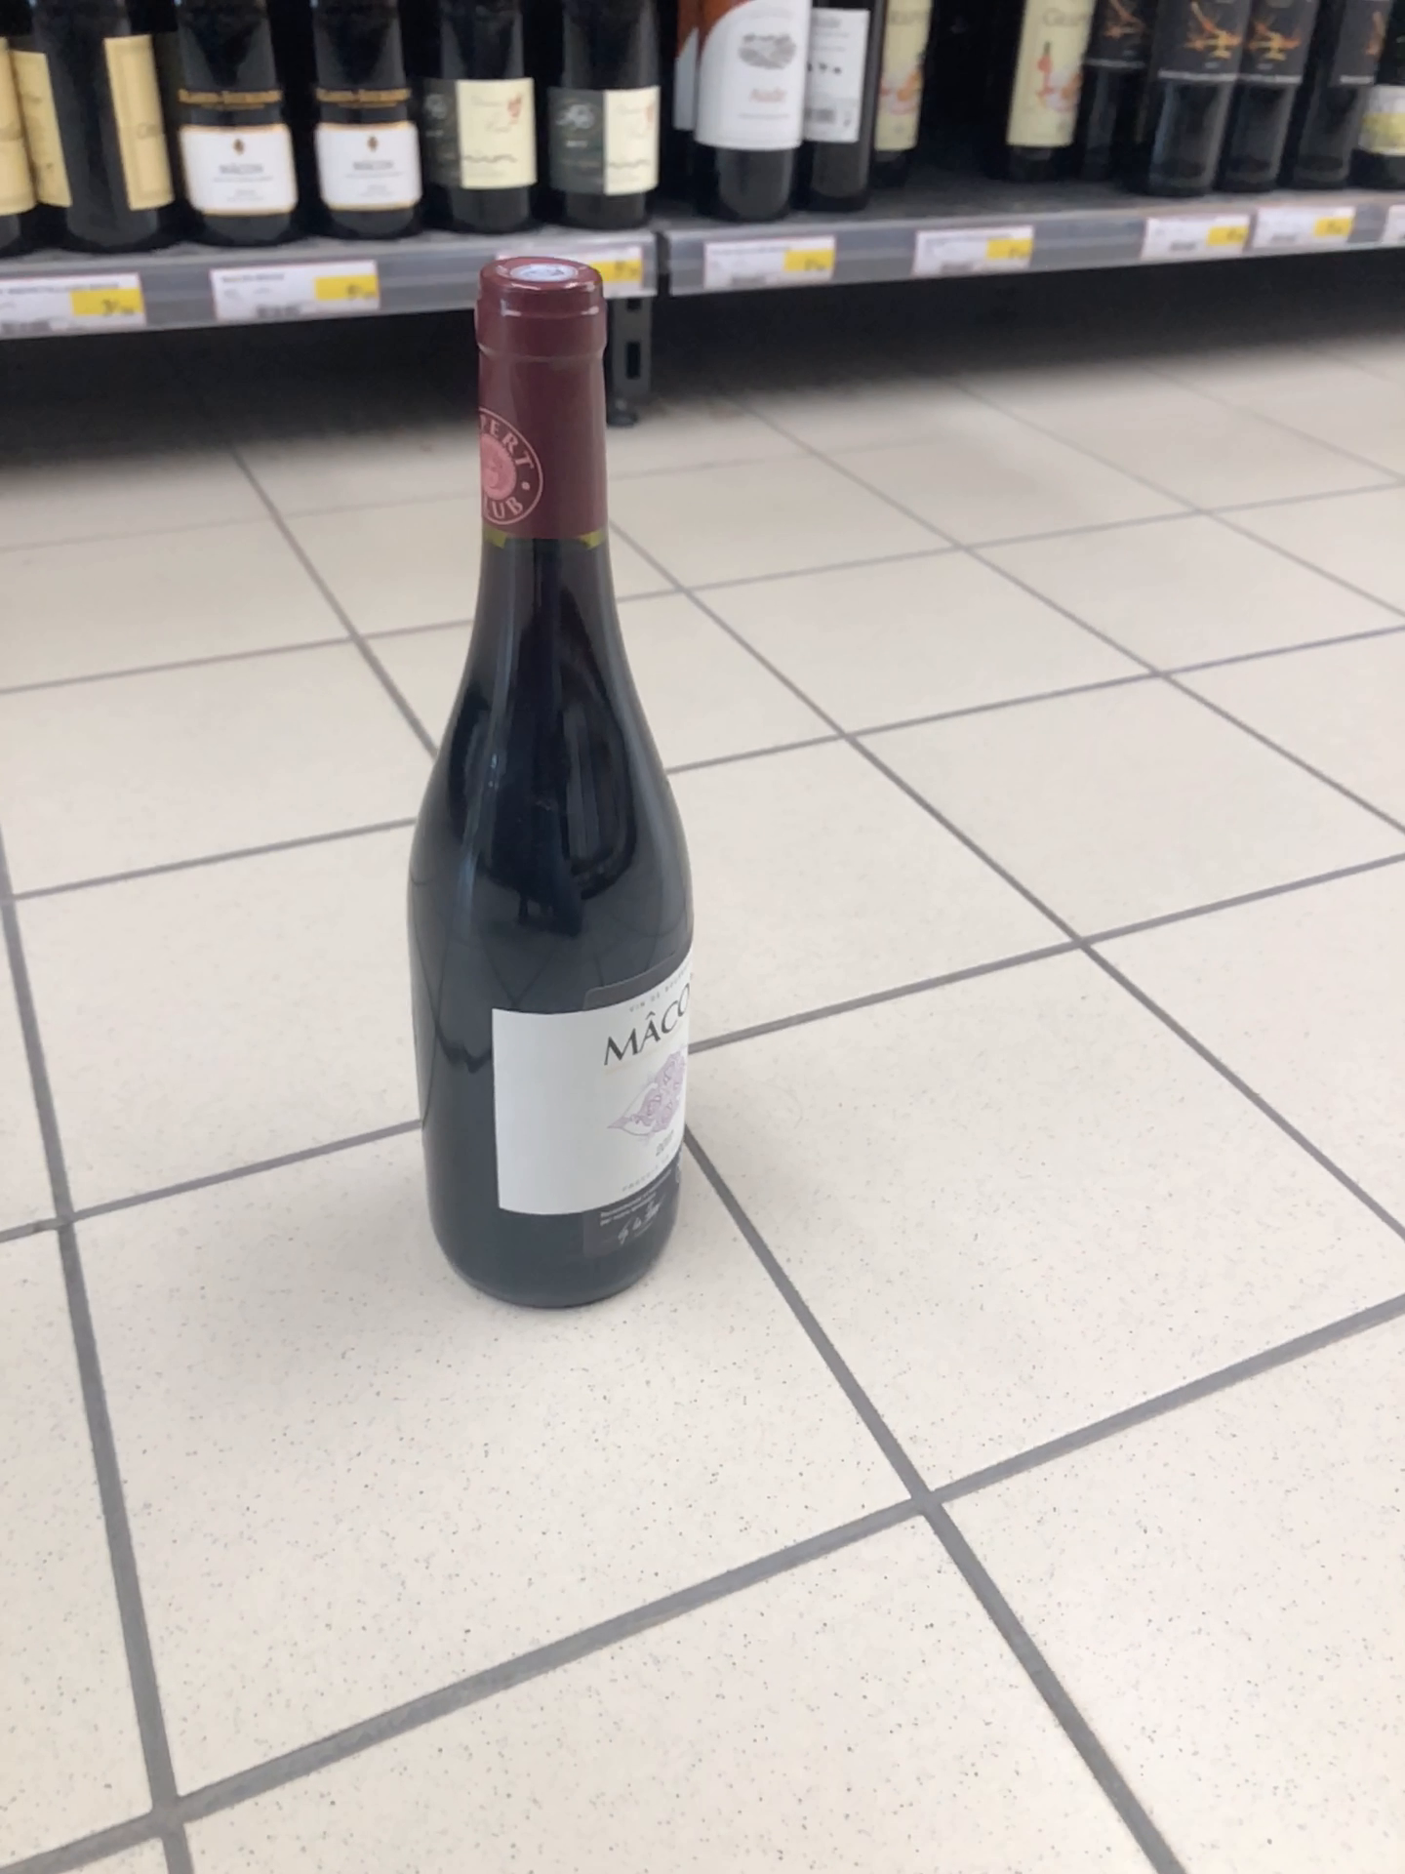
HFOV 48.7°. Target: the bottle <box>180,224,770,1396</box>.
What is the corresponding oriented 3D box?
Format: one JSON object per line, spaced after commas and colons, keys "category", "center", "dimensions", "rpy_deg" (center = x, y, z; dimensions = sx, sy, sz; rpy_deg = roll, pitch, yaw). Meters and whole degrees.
{"category": "bottle", "center": [-0.054, -0.024, 0.418], "dimensions": [0.090, 0.288, 0.091], "rpy_deg": [2, 34, -1]}
